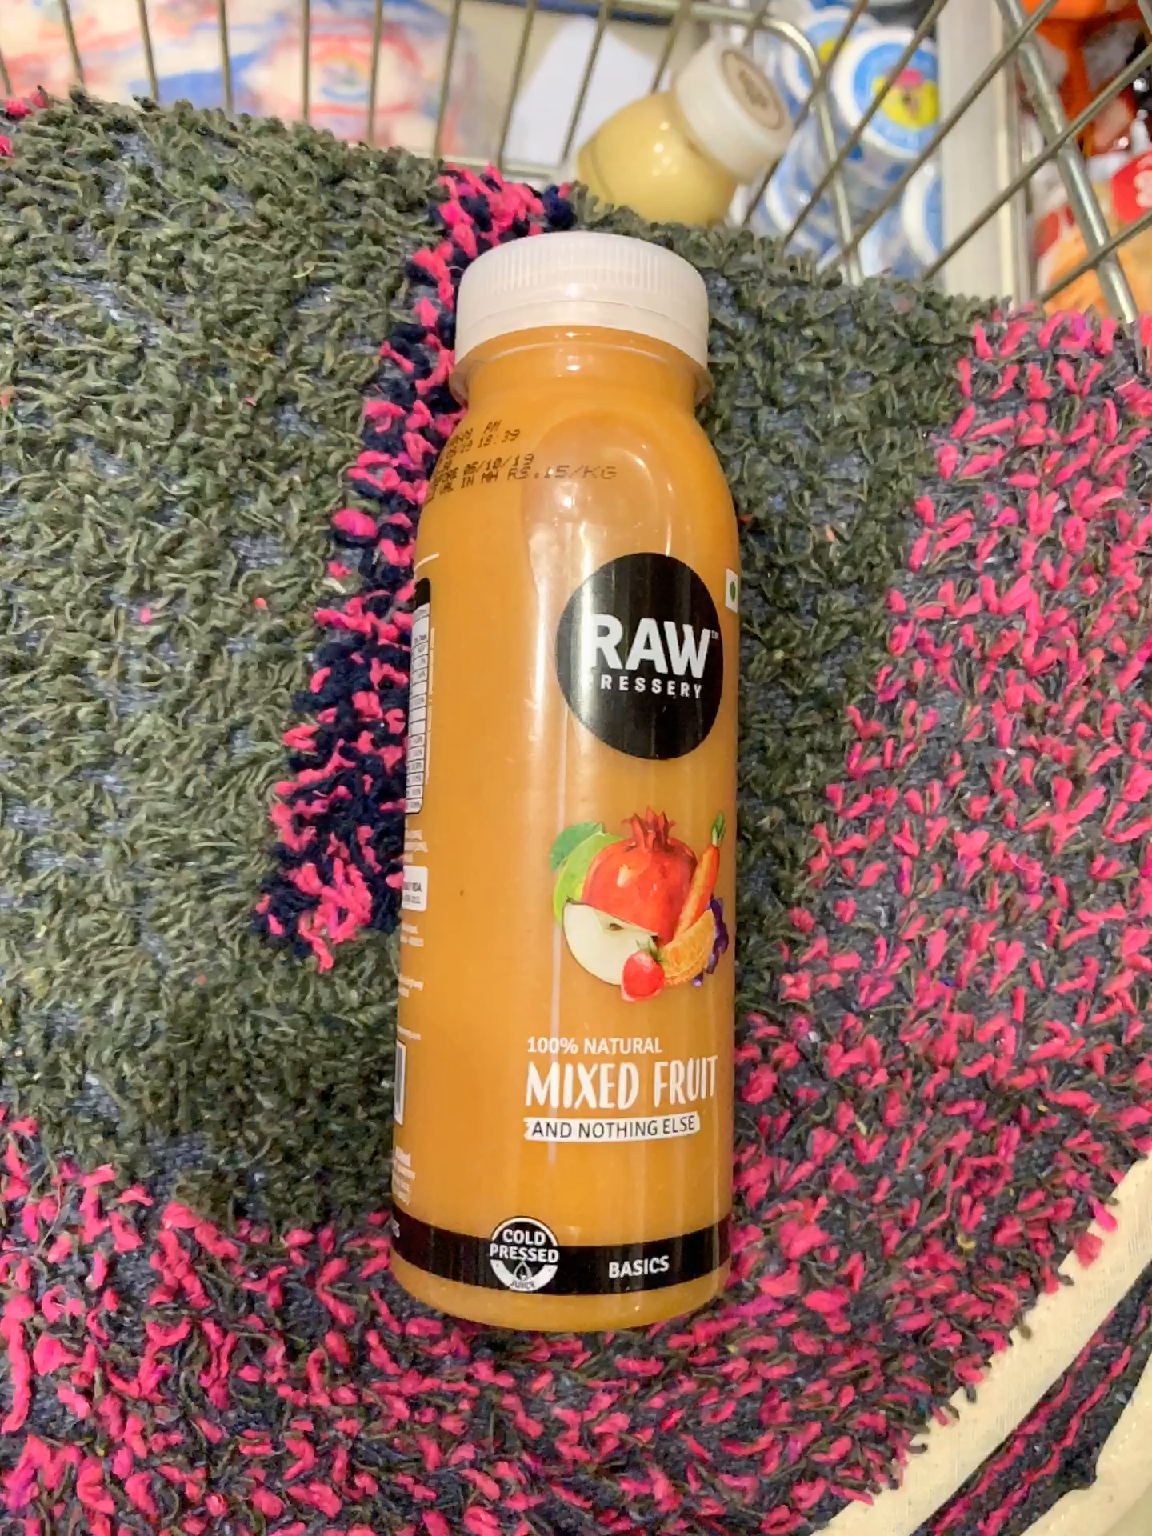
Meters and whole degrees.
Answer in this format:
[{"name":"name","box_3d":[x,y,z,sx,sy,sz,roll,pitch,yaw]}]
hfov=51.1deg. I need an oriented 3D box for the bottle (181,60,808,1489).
[{"name":"bottle","box_3d":[-0.012,0.001,0.167,0.060,0.060,0.150,5,84,-30]}]
